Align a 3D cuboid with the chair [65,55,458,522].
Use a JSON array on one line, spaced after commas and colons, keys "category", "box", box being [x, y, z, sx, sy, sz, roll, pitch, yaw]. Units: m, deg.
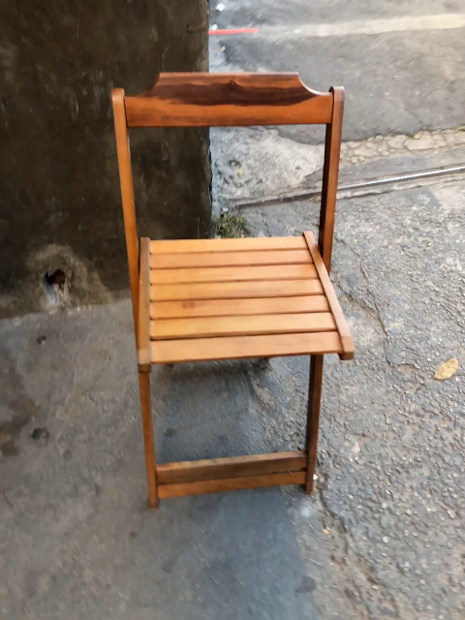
[{"category": "chair", "box": [-0.006, 0.001, 1.086, 0.480, 0.854, 0.503, -5, 46, -7]}]
